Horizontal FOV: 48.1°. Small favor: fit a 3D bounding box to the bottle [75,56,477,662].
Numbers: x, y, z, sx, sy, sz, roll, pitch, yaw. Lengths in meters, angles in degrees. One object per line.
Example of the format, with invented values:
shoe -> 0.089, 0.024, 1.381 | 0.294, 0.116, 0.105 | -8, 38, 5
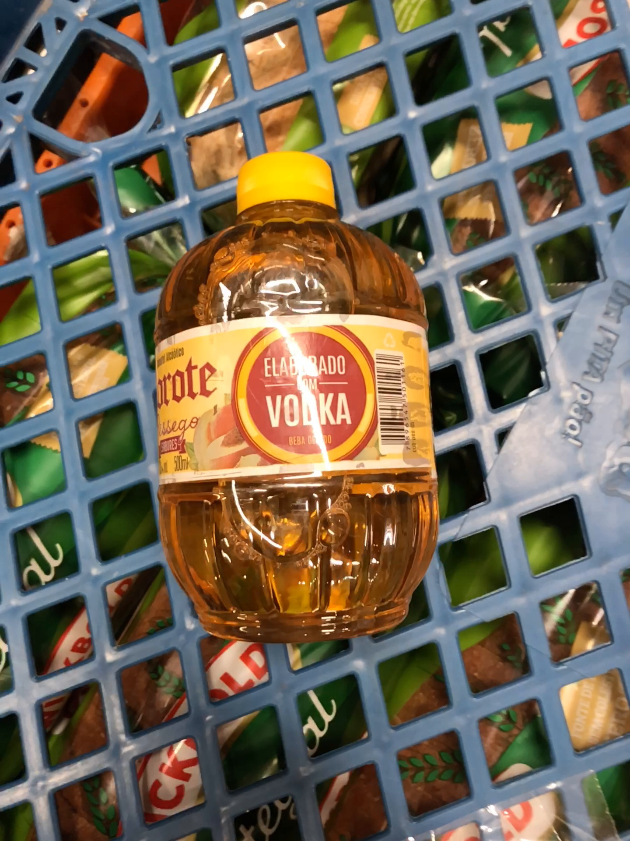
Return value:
bottle -> -0.012, -0.010, 0.201 | 0.080, 0.070, 0.130 | -8, 83, 37
